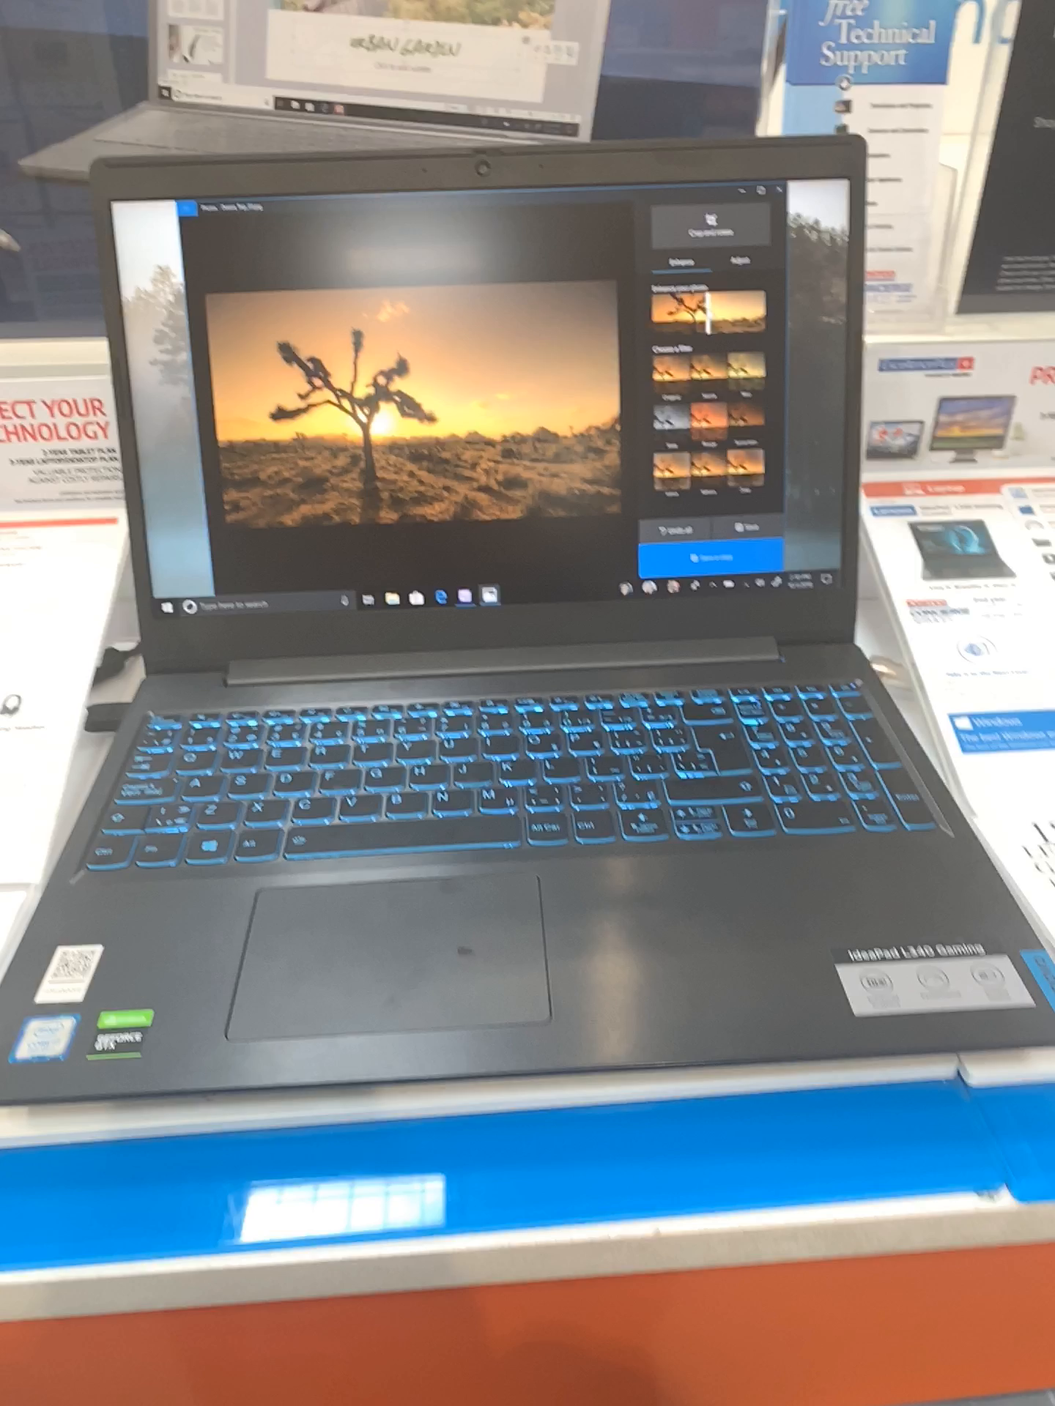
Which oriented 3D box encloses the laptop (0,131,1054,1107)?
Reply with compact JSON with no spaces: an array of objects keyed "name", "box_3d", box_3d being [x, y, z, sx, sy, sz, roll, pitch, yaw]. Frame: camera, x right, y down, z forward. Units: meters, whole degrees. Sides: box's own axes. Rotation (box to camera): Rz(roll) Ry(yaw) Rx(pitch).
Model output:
[{"name":"laptop","box_3d":[0.000,-0.072,0.405,0.340,0.214,0.330,-2,33,-3]}]
